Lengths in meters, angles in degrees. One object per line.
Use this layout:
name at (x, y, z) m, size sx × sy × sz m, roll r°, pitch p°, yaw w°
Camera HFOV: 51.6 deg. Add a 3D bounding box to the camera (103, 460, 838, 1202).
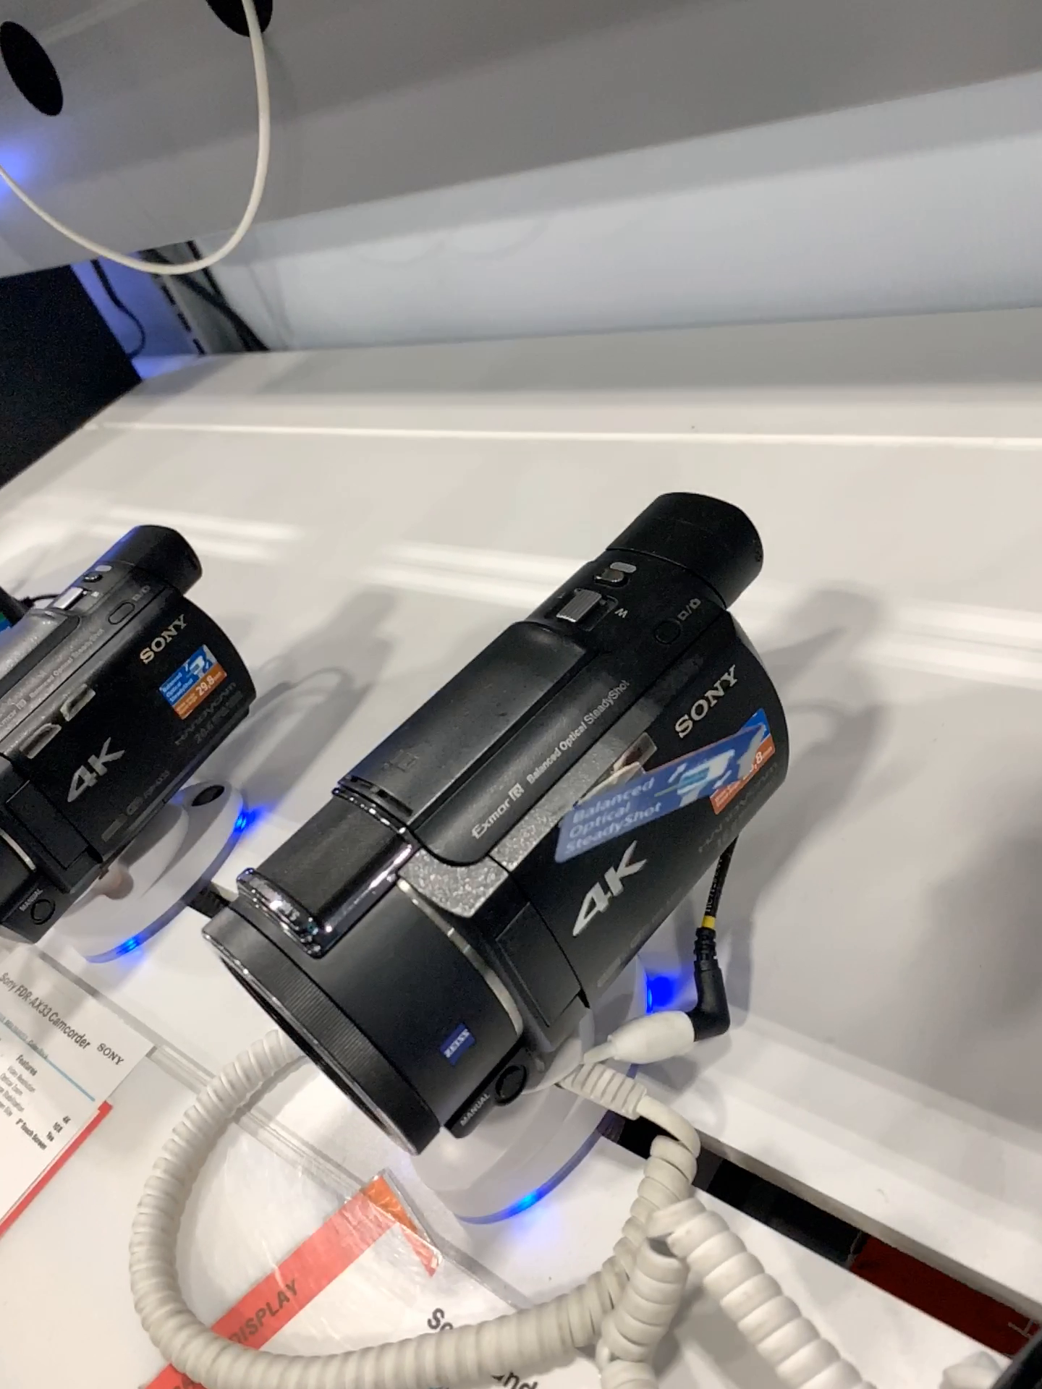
camera at (-0.004, 0.022, 0.255) m, size 0.151 × 0.071 × 0.070 m, roll -44°, pitch 41°, yaw -21°
